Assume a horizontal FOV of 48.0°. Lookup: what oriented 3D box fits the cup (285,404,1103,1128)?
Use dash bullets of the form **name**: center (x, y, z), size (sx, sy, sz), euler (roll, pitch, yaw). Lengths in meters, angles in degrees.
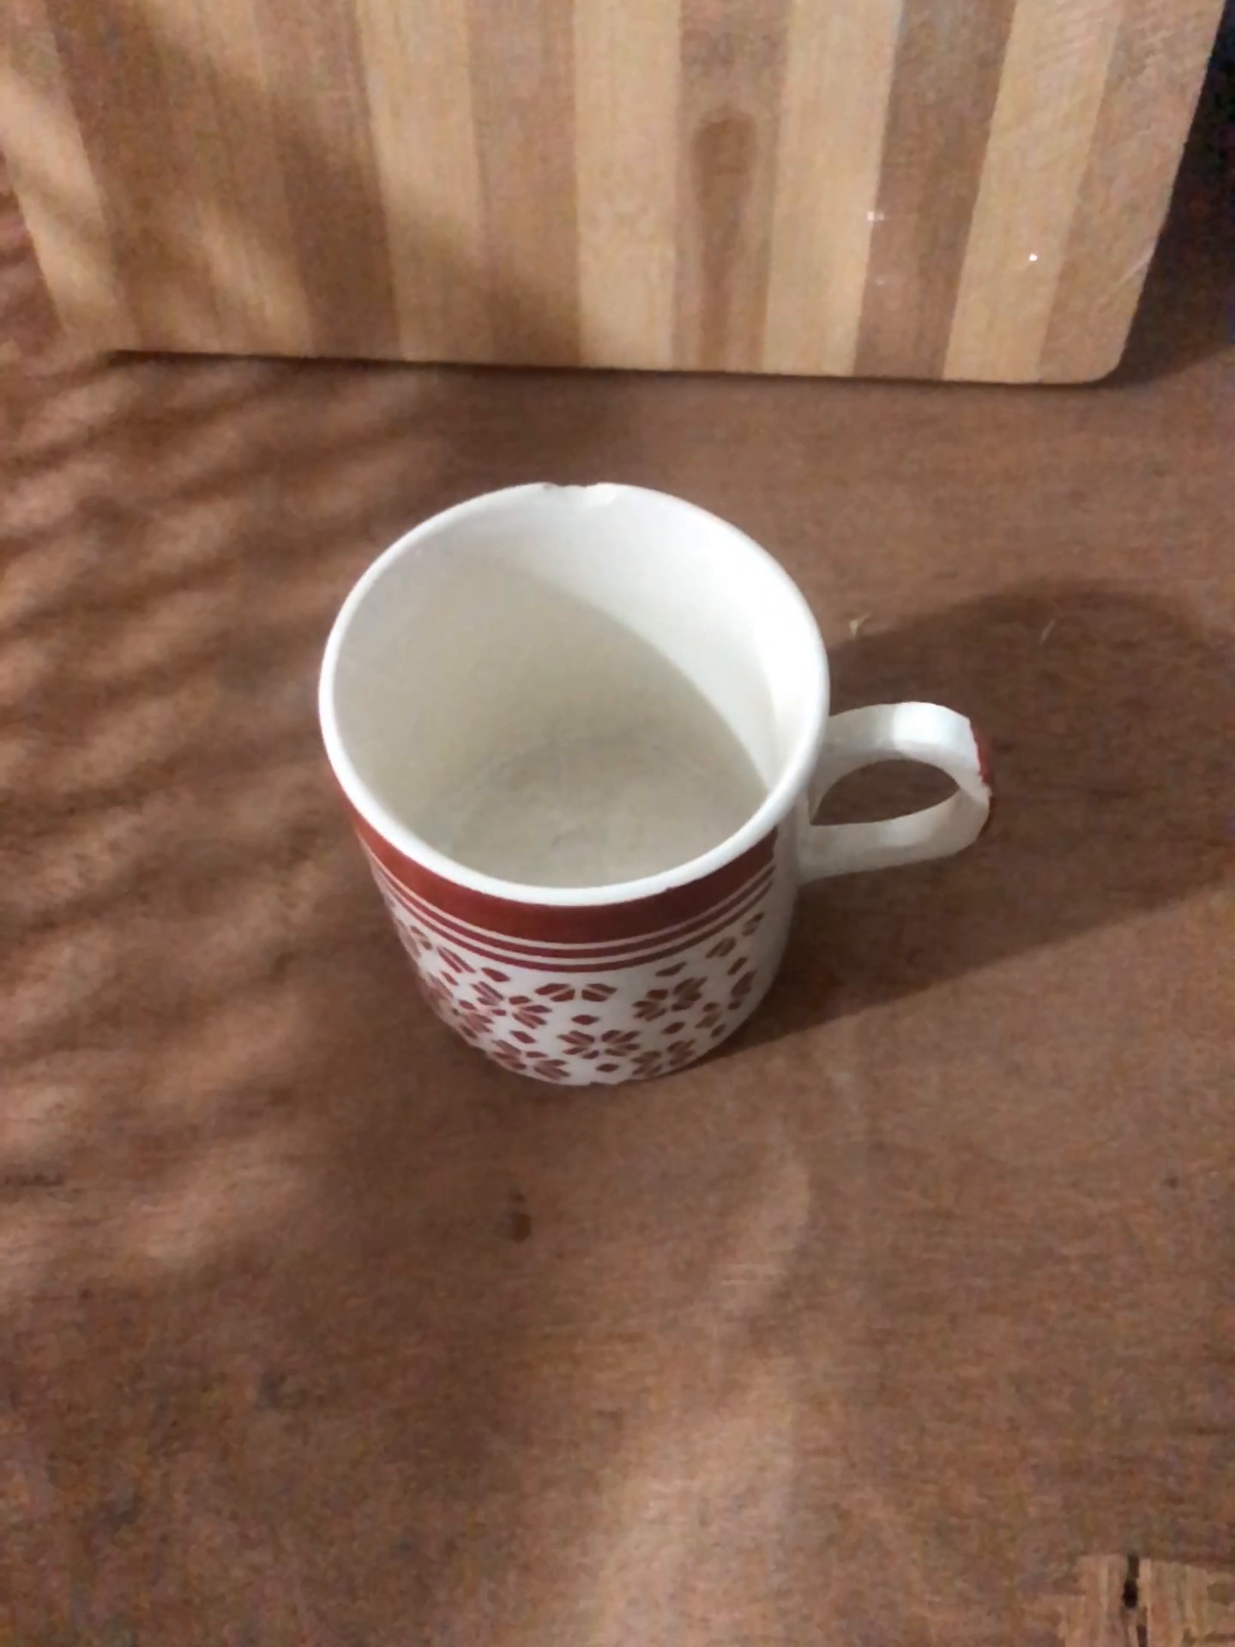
- **cup**: center (0.007, -0.005, 0.199), size (0.090, 0.070, 0.070), euler (-5, 62, 0)
